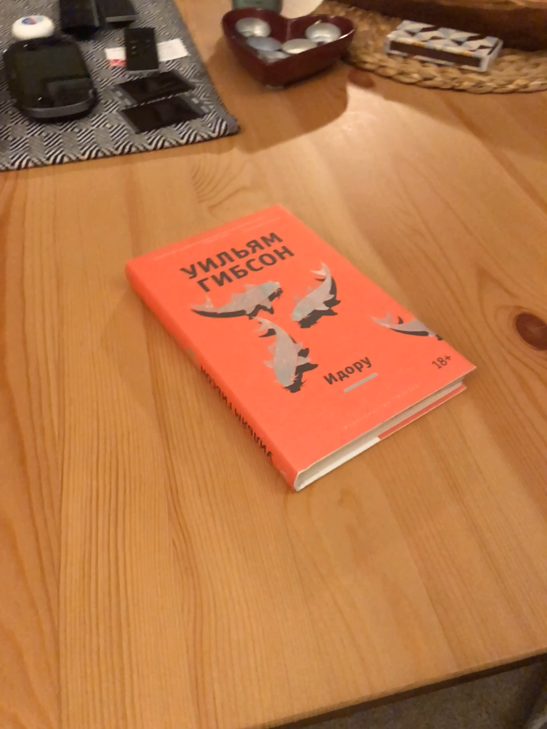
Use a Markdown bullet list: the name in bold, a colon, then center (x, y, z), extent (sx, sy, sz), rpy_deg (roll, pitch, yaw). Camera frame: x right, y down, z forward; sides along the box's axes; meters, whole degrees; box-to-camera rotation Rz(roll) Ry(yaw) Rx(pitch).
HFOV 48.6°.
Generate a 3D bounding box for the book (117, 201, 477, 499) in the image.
- **book**: center (0.006, -0.028, 0.393), extent (0.134, 0.020, 0.208), rpy_deg (-27, 54, -23)
